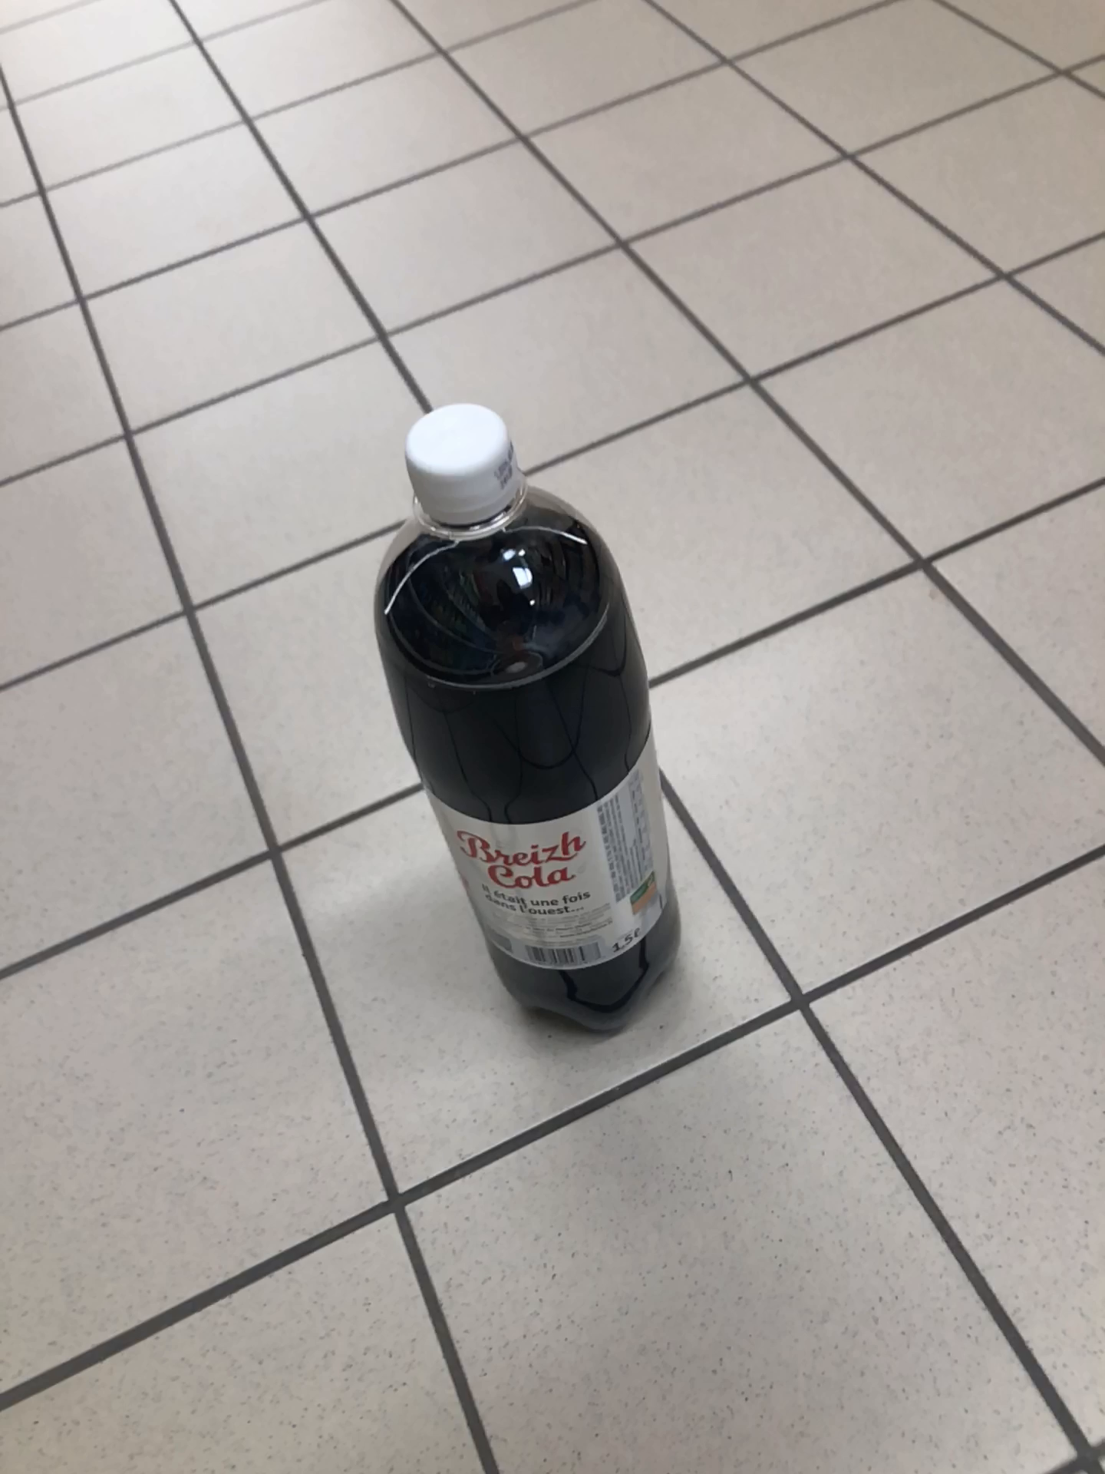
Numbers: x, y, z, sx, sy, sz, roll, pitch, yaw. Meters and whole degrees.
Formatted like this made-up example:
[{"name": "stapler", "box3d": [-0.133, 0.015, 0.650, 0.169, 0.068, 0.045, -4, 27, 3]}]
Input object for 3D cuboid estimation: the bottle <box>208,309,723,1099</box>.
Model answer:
[{"name": "bottle", "box3d": [-0.008, 0.014, 0.465, 0.100, 0.318, 0.090, 29, 63, 28]}]
